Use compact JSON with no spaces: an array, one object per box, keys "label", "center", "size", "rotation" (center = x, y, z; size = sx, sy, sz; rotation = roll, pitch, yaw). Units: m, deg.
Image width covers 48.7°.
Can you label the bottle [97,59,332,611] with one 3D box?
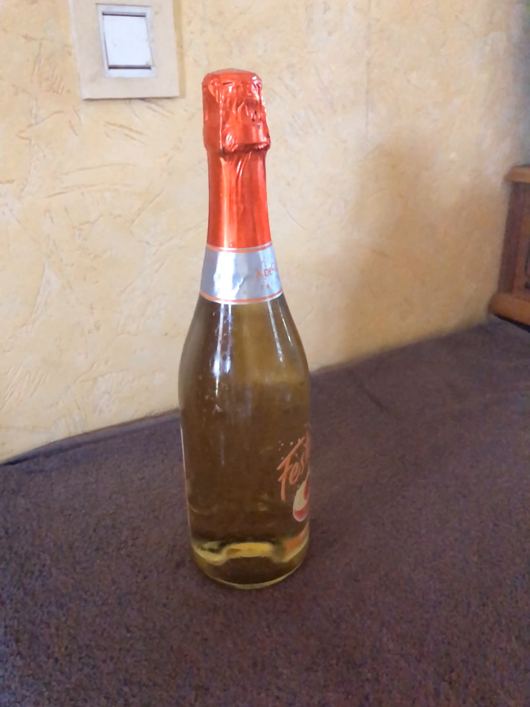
[{"label":"bottle","center":[-0.016,-0.003,0.356],"size":[0.090,0.308,0.091],"rotation":[-1,24,1]}]
